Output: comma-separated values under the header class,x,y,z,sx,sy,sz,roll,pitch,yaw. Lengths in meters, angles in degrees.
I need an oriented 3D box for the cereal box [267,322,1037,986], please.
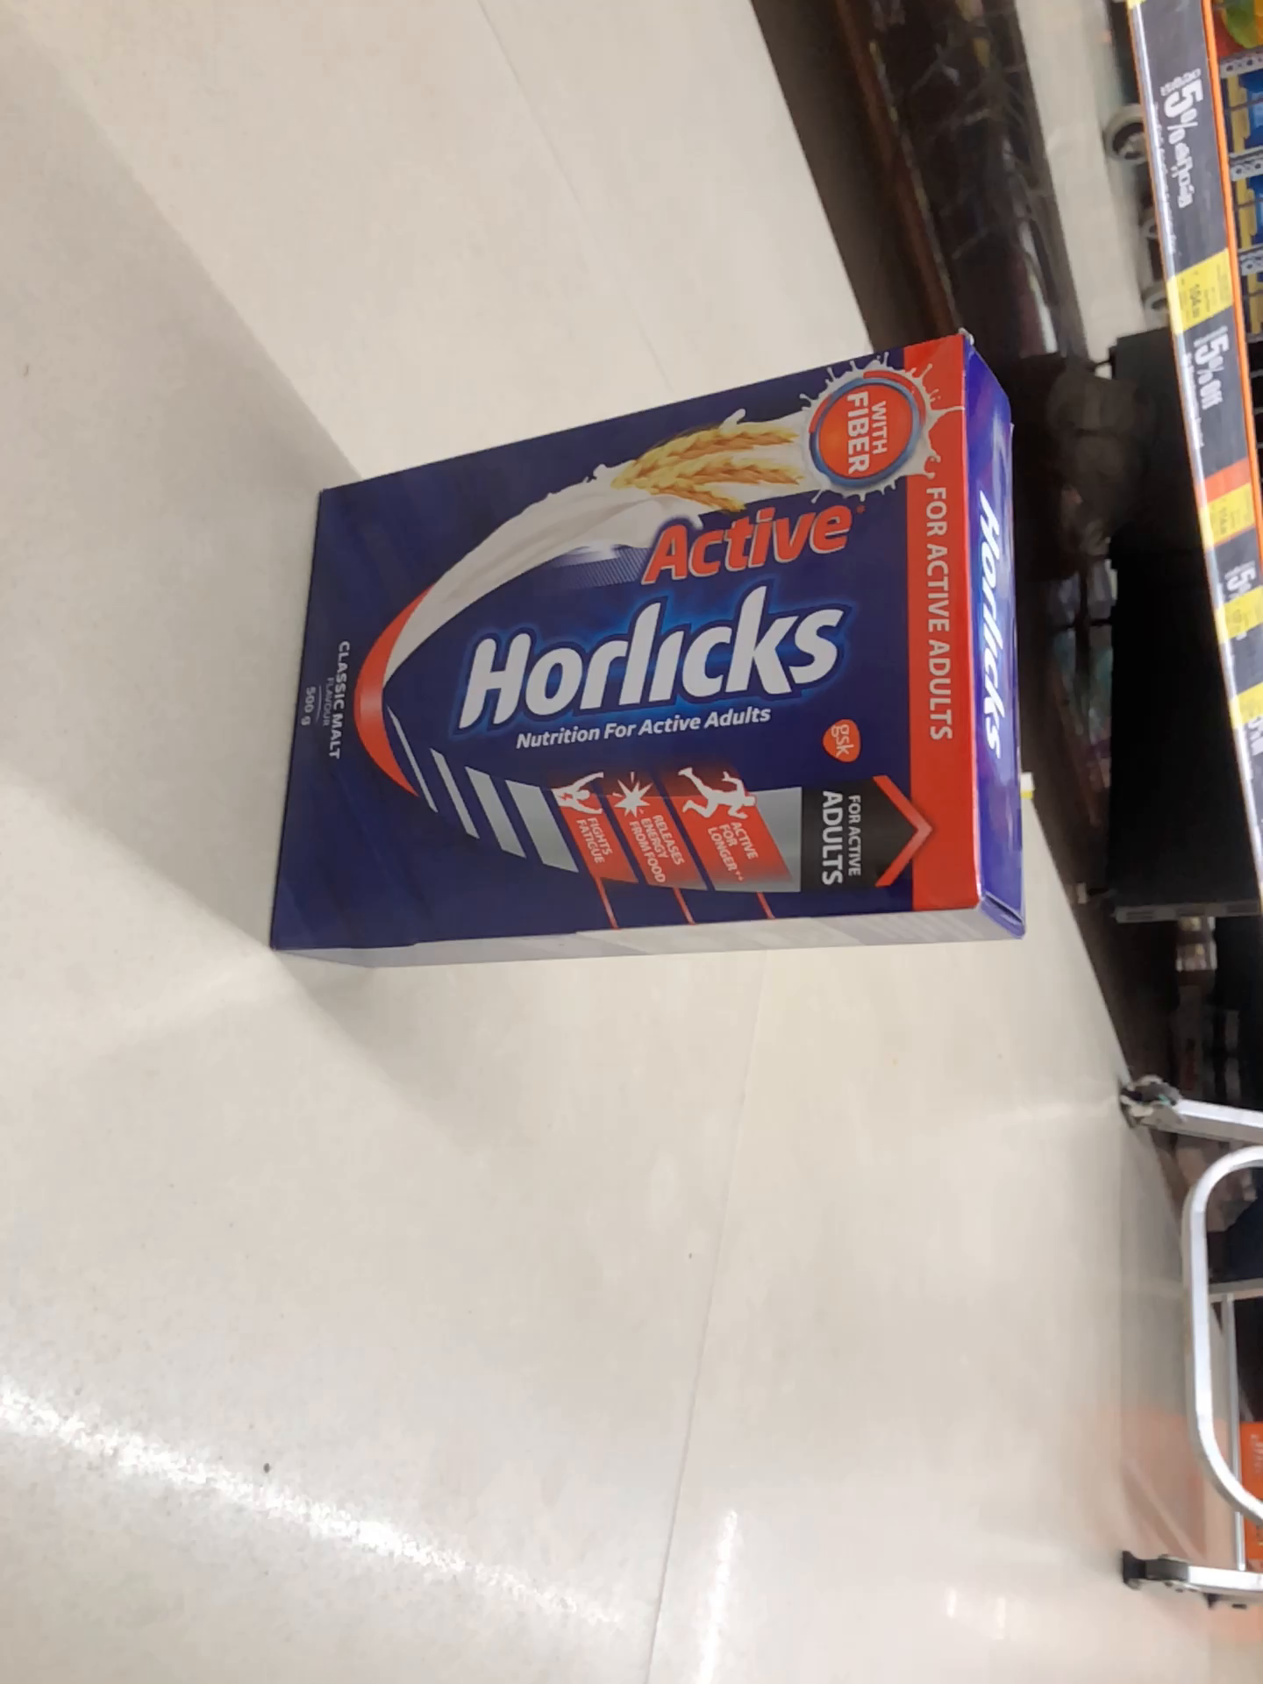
class,x,y,z,sx,sy,sz,roll,pitch,yaw
cereal box,0.002,-0.038,0.365,0.050,0.189,0.140,27,62,-61
